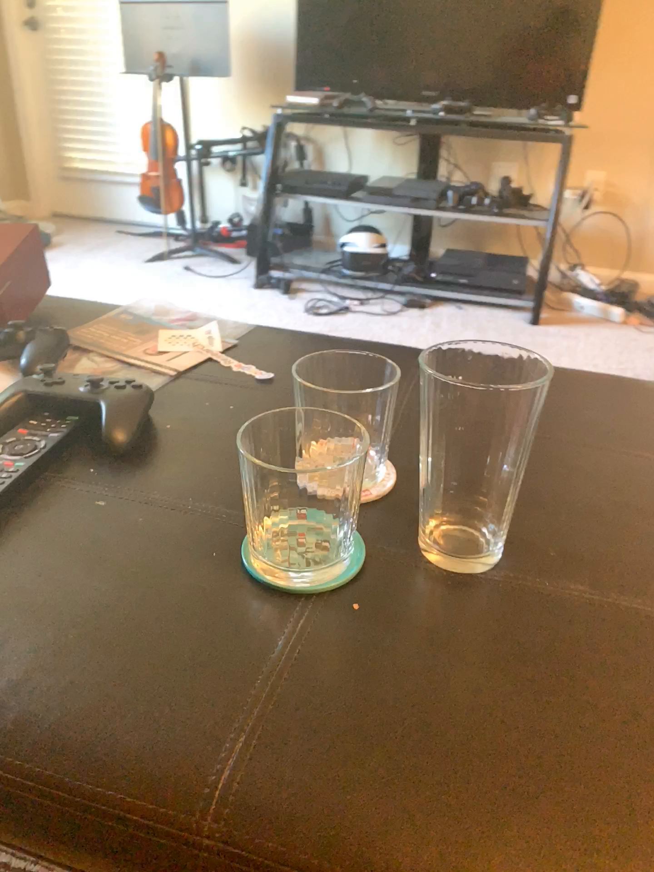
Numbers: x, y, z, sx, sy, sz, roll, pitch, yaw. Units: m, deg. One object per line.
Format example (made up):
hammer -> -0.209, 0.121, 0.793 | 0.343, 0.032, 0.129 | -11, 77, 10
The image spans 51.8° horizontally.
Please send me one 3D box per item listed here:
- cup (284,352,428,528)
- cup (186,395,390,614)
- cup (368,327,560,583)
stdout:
cup -> 0.023, 0.000, 0.593 | 0.090, 0.109, 0.080 | 25, 36, 35
cup -> -0.028, 0.041, 0.466 | 0.100, 0.089, 0.090 | 25, 36, 35
cup -> 0.093, 0.010, 0.478 | 0.080, 0.139, 0.090 | 25, 36, 35
